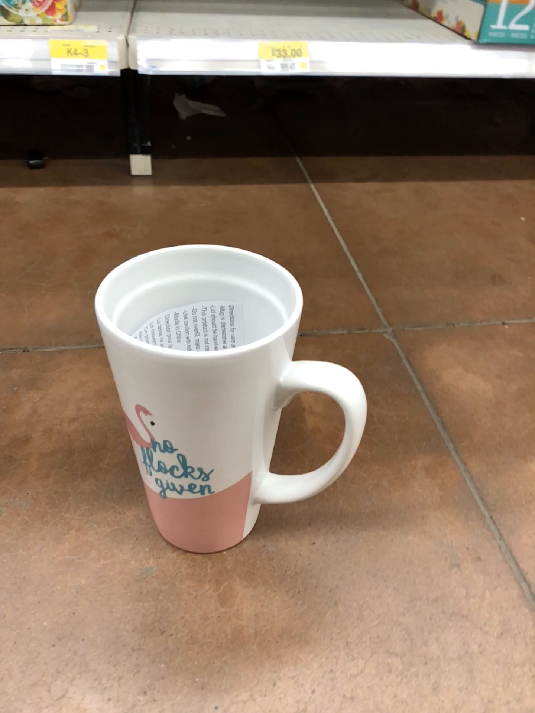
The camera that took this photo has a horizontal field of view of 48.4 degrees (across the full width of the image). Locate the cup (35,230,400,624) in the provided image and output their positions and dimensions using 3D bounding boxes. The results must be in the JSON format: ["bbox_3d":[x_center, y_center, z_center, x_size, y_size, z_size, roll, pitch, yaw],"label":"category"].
[{"bbox_3d":[-0.018,0.032,0.302,0.130,0.139,0.100,14,38,14],"label":"cup"}]
